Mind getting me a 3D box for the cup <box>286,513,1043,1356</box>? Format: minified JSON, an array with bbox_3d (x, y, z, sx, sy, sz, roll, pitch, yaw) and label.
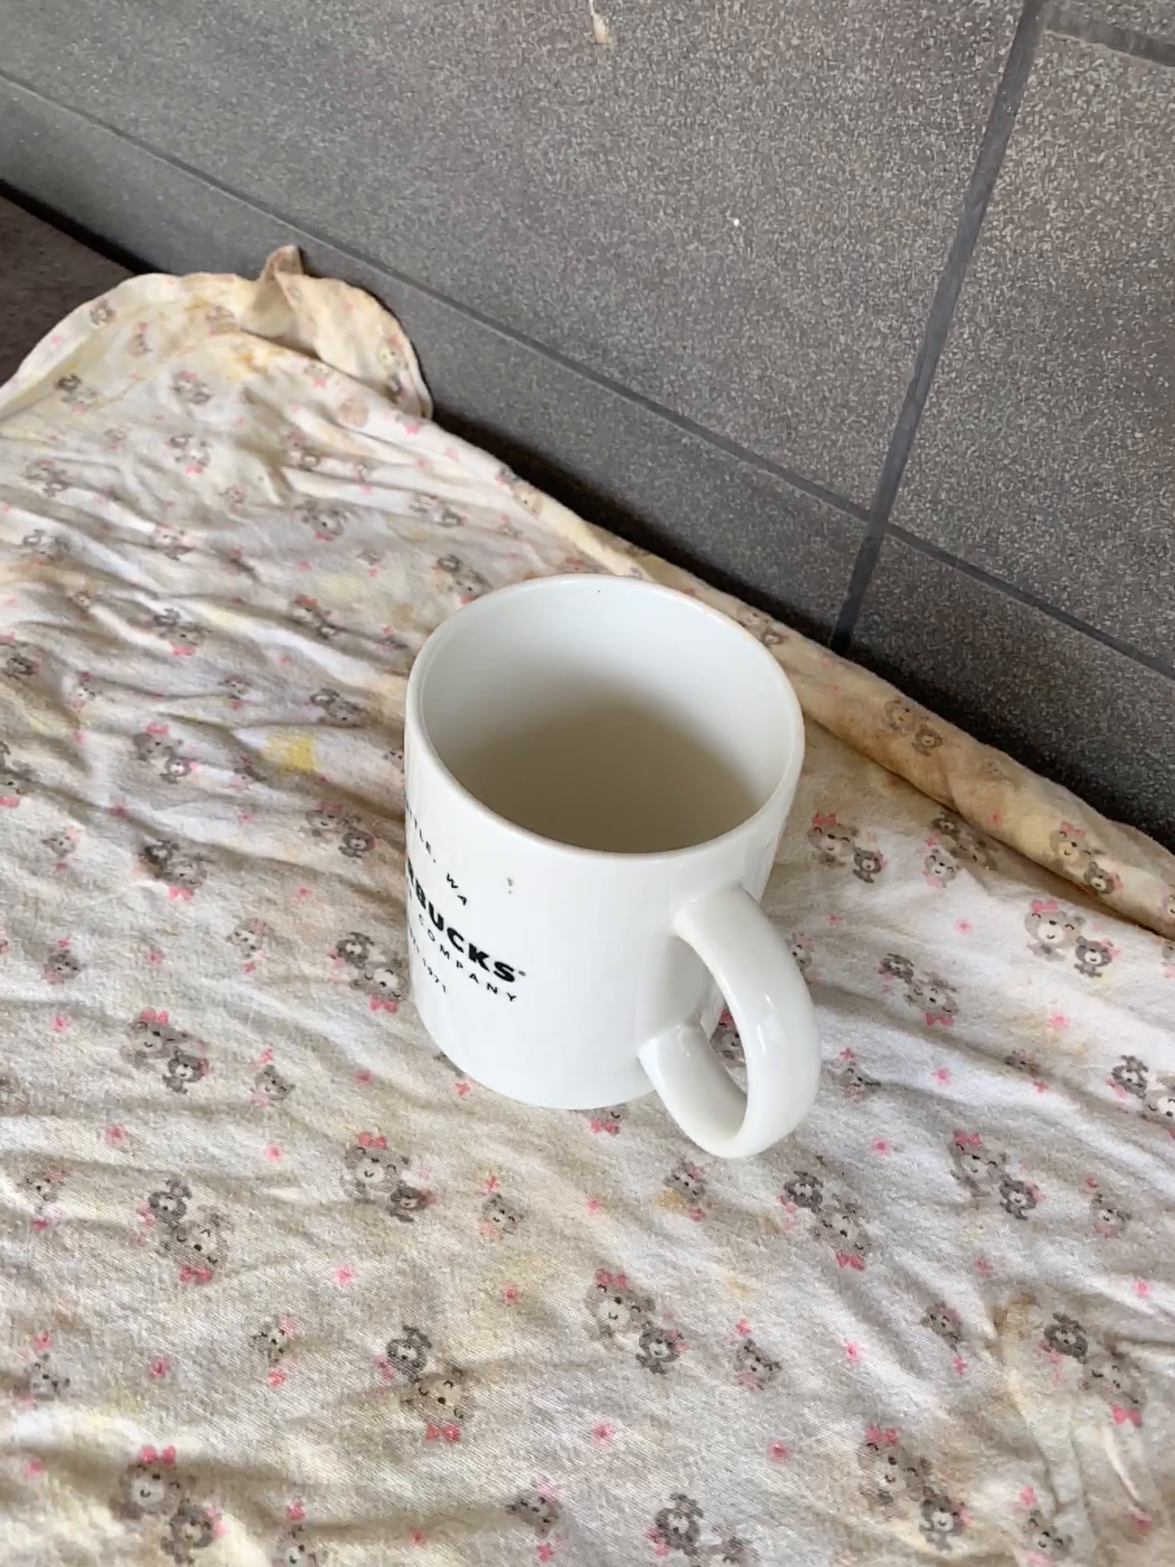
[{"bbox_3d":[0.006,0.030,0.280,0.090,0.110,0.130,-24,54,-26],"label":"cup"}]
